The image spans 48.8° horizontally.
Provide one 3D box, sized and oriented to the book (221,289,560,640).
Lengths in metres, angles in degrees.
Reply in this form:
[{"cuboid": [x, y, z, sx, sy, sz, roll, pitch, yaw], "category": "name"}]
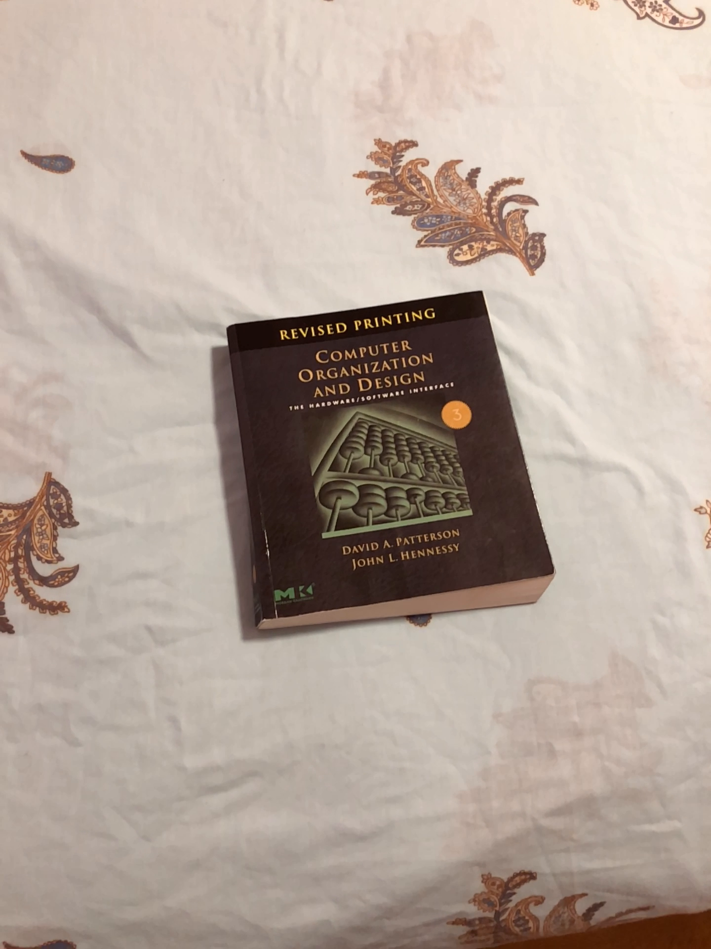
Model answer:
[{"cuboid": [0.016, -0.011, 0.583, 0.201, 0.073, 0.225, -8, 70, -7], "category": "book"}]
